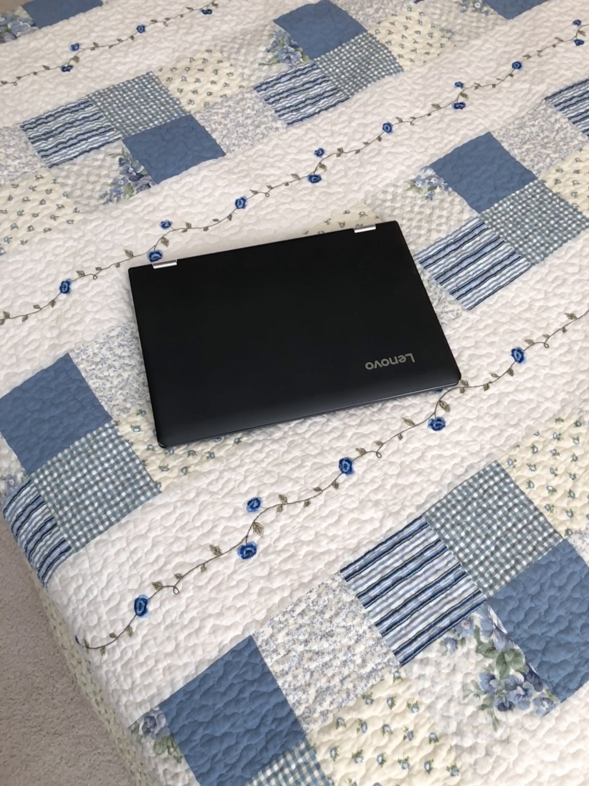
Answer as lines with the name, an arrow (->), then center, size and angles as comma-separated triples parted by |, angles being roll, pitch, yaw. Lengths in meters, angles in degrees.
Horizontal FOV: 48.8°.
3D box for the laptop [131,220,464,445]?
laptop -> -0.004, -0.079, 0.714 | 0.320, 0.008, 0.224 | -12, 62, -8
